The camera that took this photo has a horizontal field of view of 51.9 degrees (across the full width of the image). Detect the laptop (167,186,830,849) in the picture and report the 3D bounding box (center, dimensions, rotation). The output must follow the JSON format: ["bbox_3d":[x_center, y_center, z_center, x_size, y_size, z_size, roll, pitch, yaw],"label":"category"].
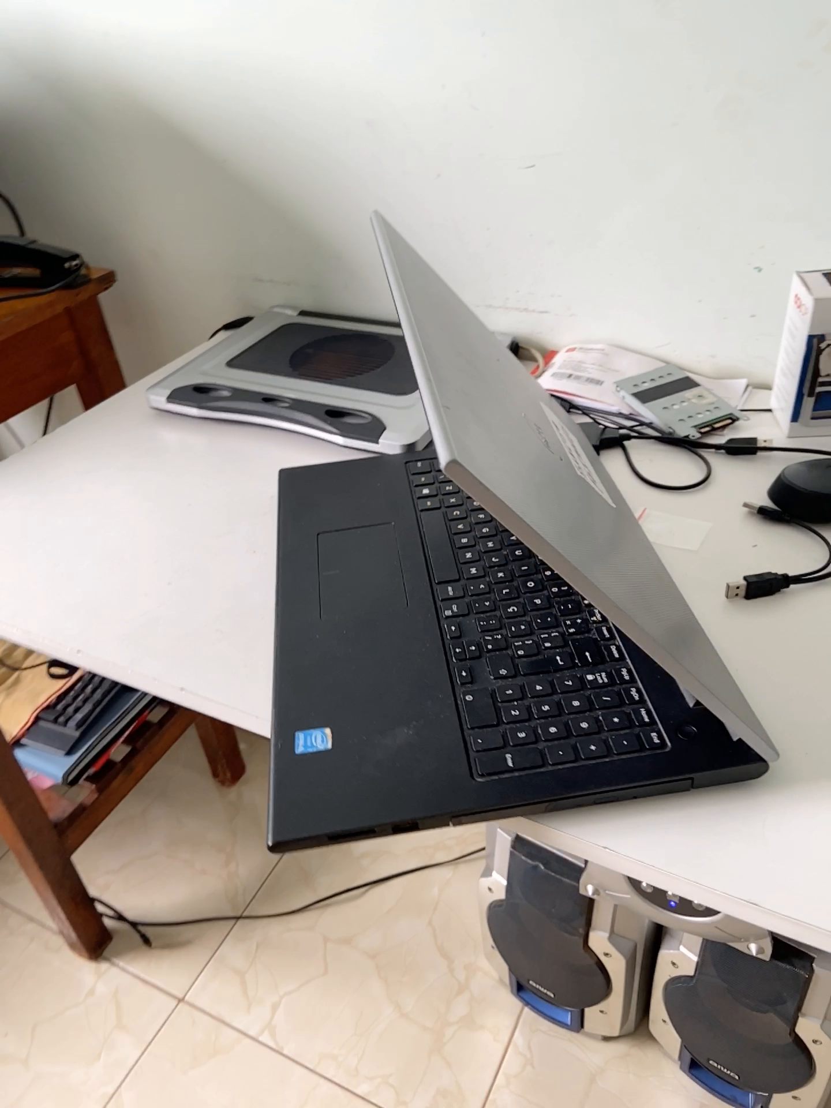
[{"bbox_3d":[0.019,-0.060,0.533,0.257,0.204,0.376,-9,37,-3],"label":"laptop"}]
